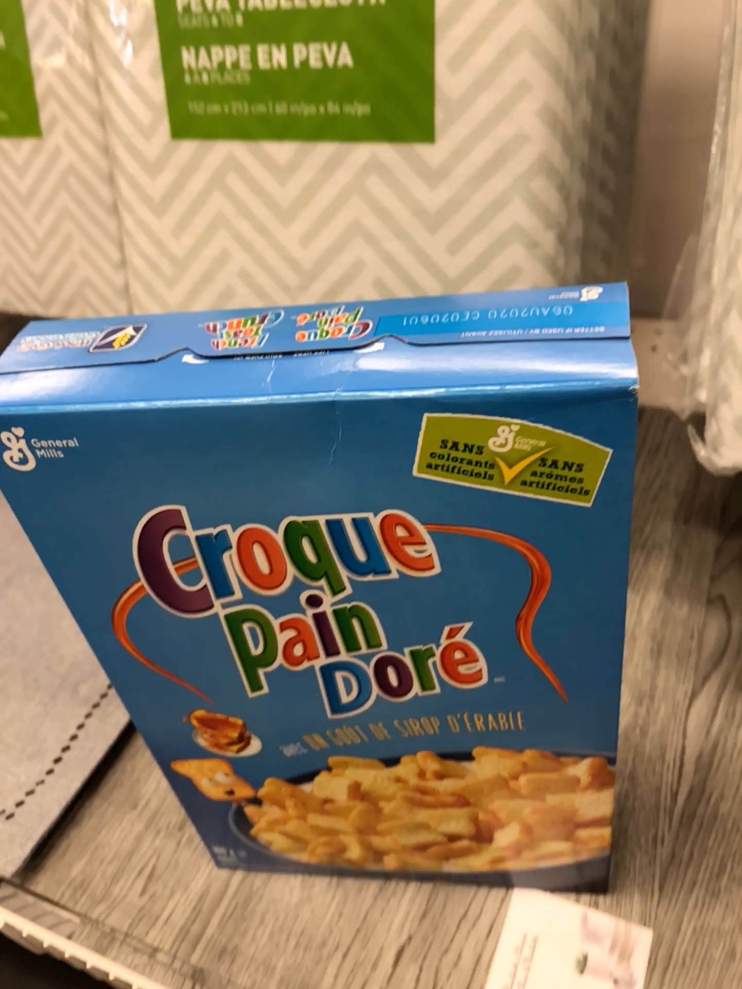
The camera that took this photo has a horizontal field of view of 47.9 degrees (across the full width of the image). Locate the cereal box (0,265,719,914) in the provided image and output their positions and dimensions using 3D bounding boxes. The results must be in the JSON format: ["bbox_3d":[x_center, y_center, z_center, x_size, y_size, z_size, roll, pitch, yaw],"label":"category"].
[{"bbox_3d":[0.002,0.063,0.318,0.210,0.279,0.050,-2,40,12],"label":"cereal box"}]
